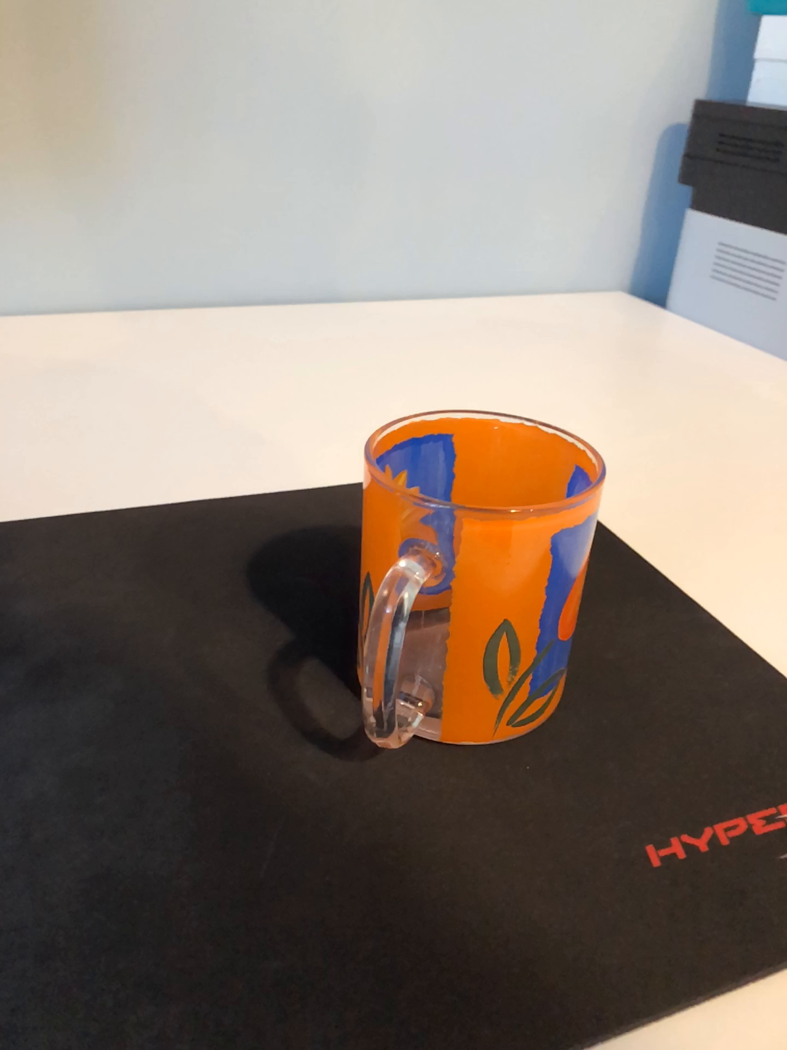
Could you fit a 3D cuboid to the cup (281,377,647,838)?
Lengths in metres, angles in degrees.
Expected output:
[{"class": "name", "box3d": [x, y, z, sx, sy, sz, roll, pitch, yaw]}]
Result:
[{"class": "cup", "box3d": [0.026, 0.017, 0.287, 0.075, 0.089, 0.114, 16, 30, 20]}]
